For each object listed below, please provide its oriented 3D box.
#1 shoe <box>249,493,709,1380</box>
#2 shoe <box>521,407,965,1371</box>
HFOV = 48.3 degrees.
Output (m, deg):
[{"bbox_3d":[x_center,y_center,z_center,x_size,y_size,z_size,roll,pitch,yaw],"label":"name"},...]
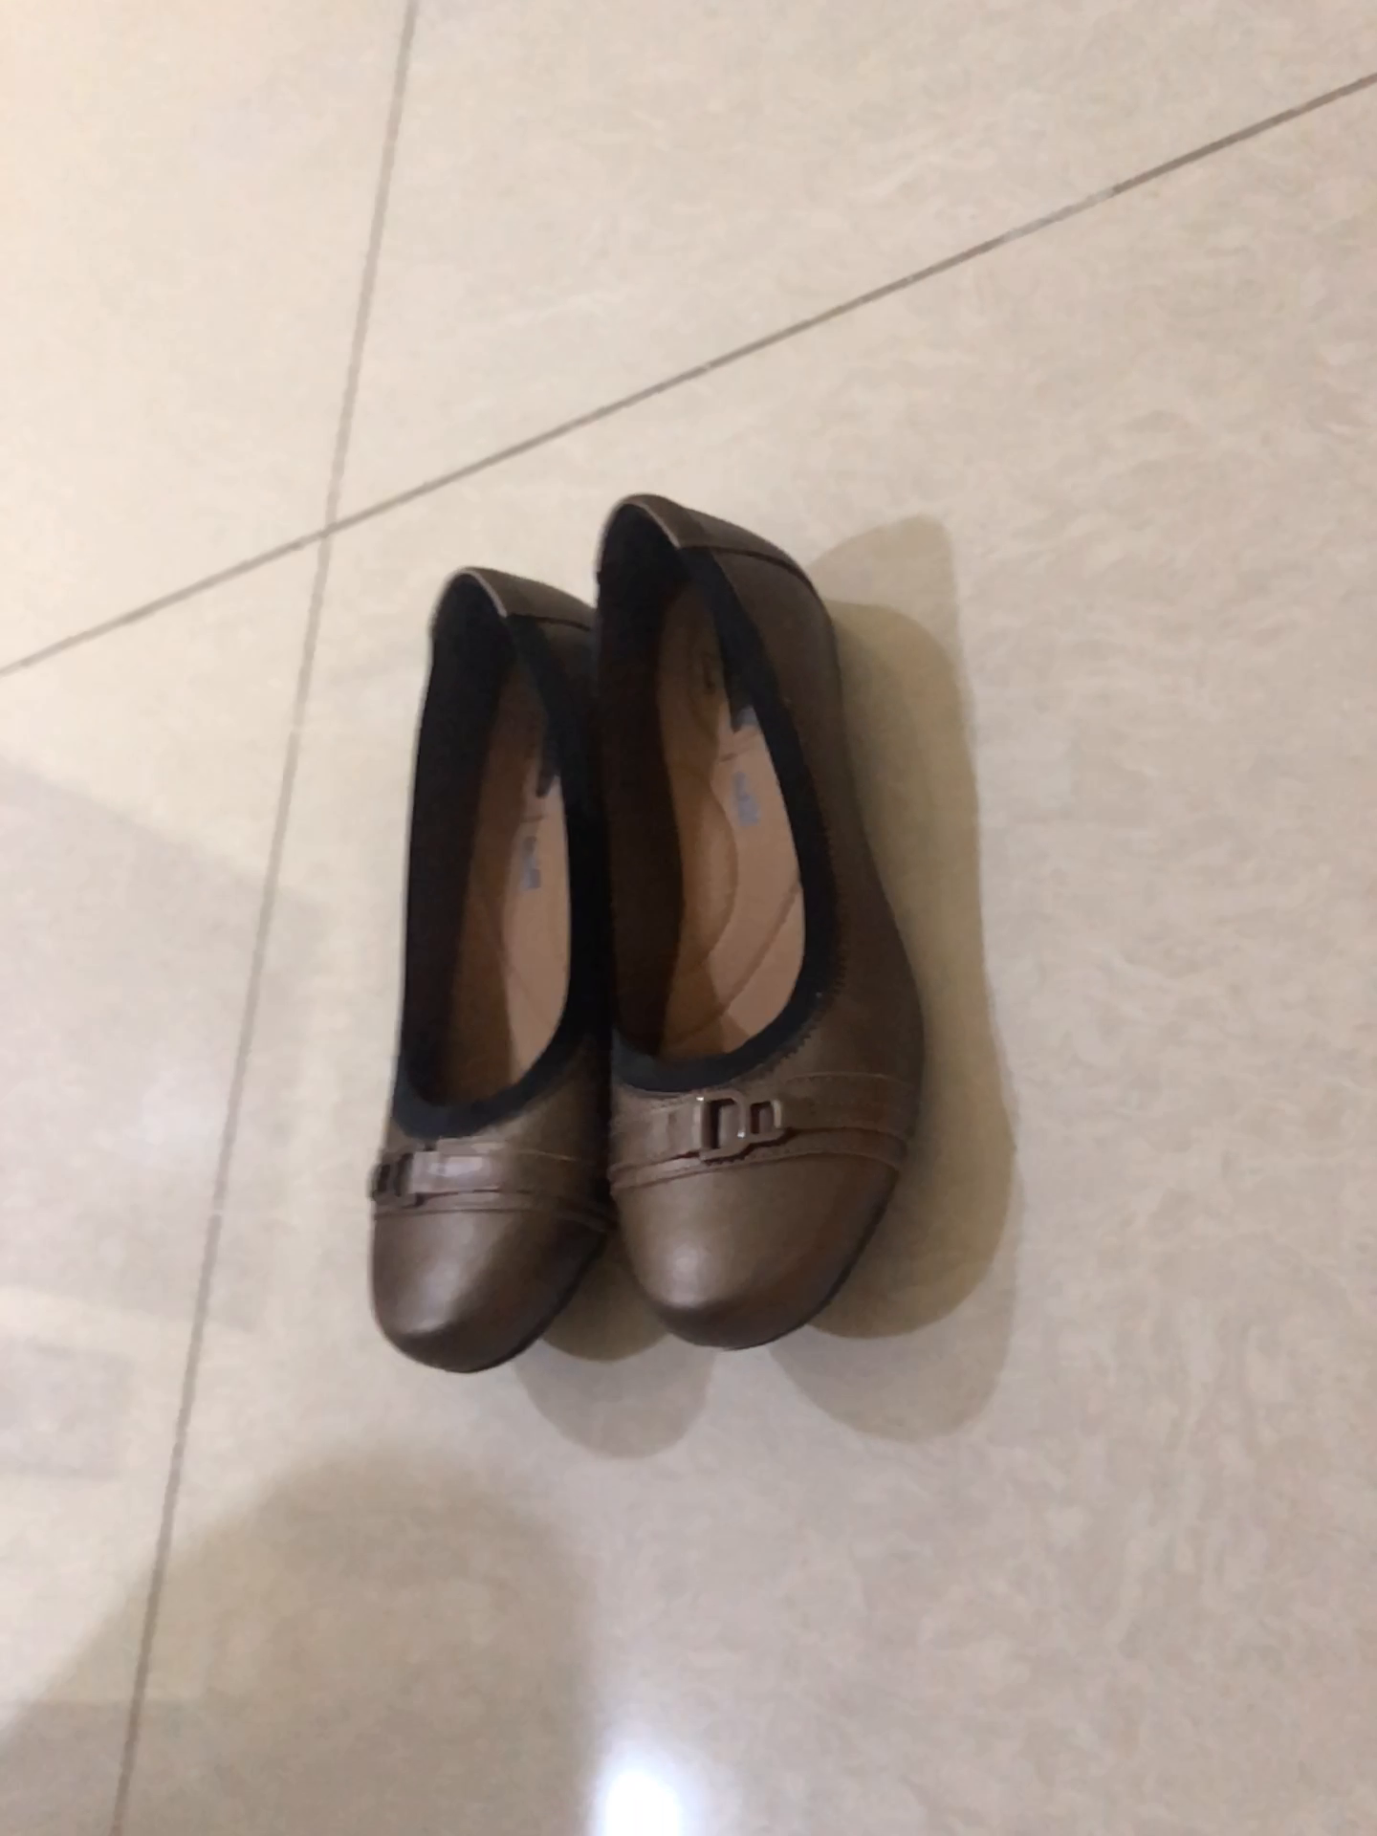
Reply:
[{"bbox_3d":[-0.061,0.003,0.491,0.101,0.050,0.270,-9,64,32],"label":"shoe"},{"bbox_3d":[0.013,-0.011,0.447,0.090,0.070,0.260,-16,61,29],"label":"shoe"}]
